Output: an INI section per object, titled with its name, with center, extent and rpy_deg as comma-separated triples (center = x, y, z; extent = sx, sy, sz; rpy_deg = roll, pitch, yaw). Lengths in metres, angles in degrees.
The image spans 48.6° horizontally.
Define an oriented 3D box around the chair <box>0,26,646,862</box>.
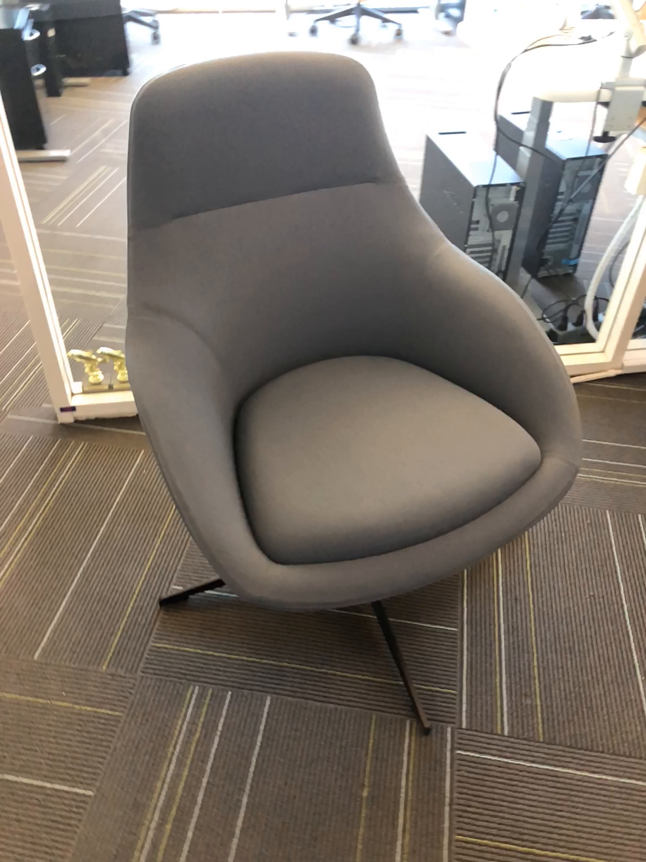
[chair]
center = 0.018, -0.069, 1.357
extent = 0.930, 0.995, 0.964
rpy_deg = -17, 44, -20
